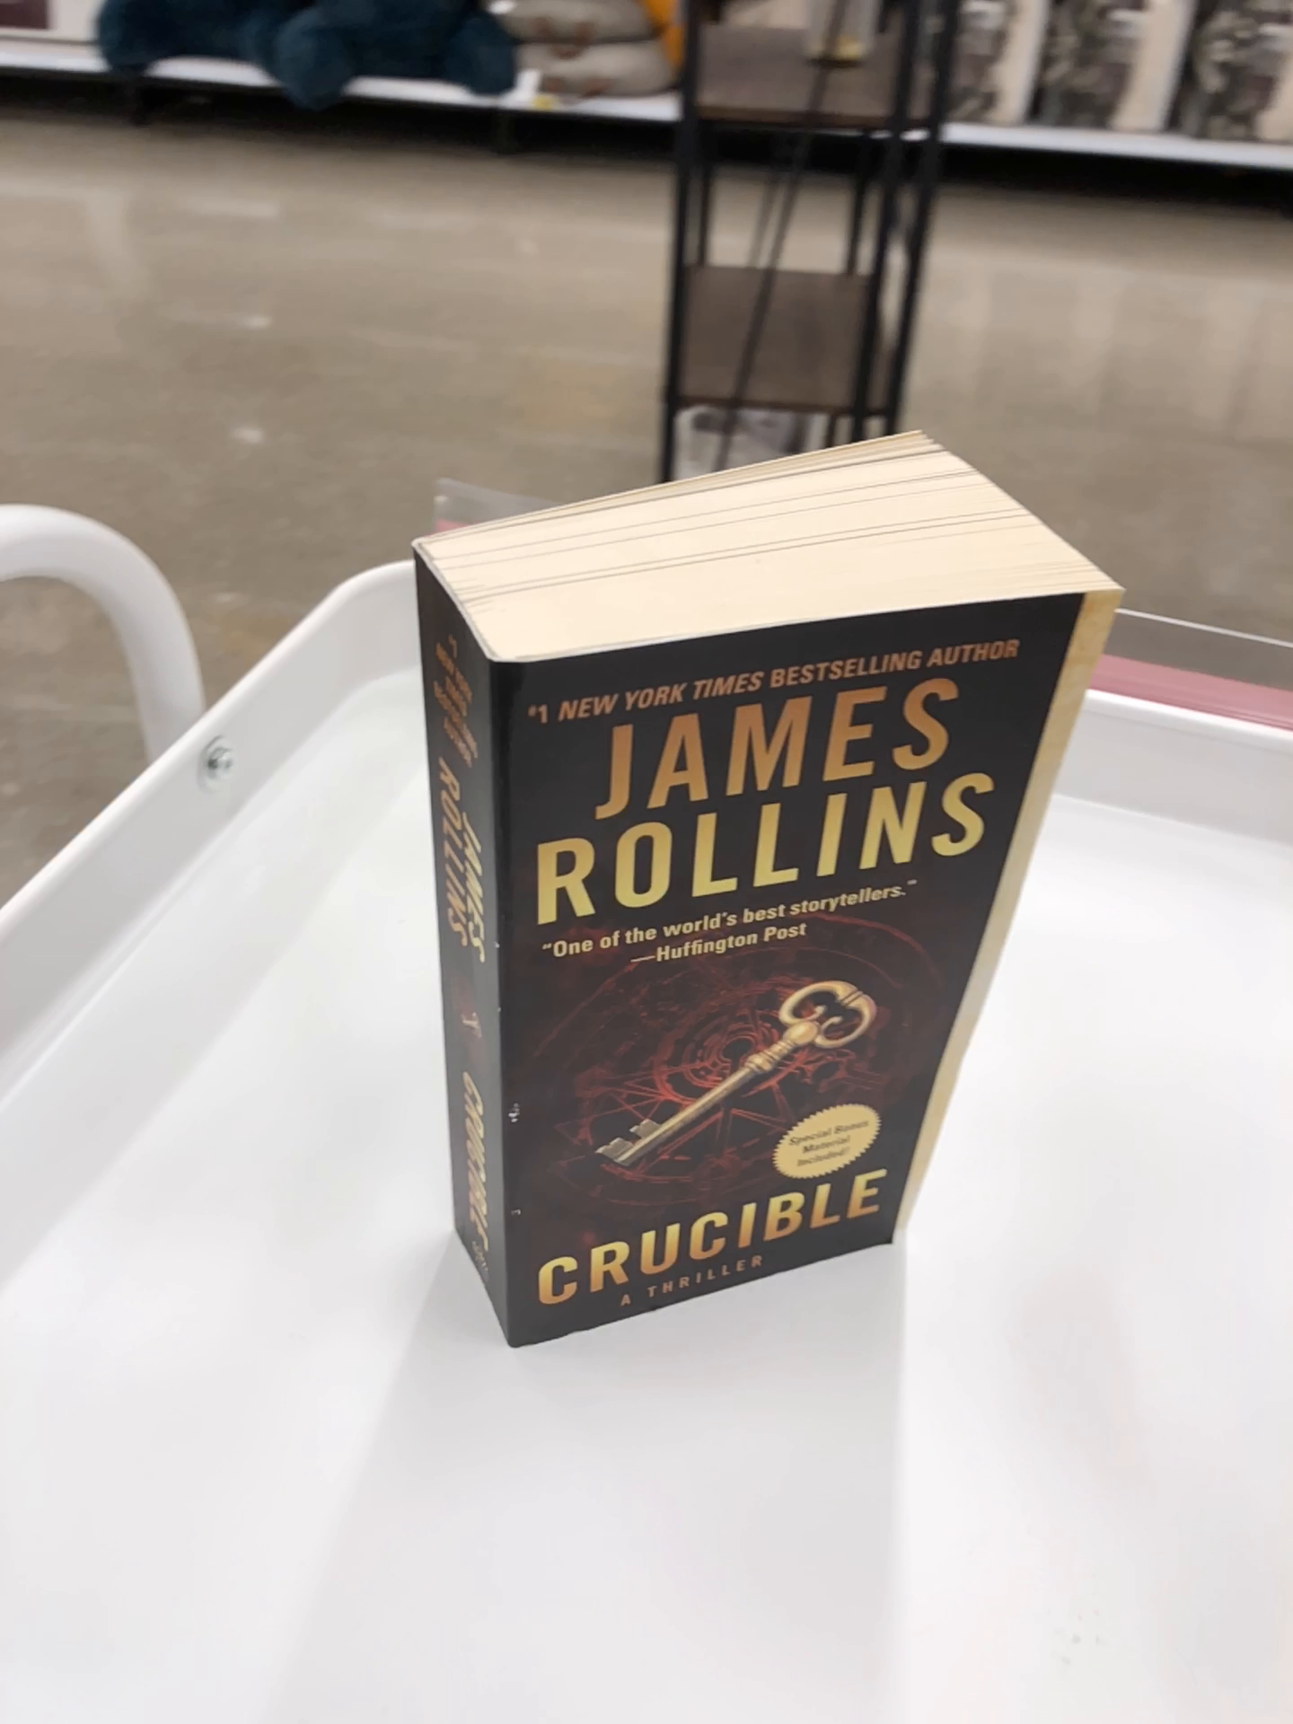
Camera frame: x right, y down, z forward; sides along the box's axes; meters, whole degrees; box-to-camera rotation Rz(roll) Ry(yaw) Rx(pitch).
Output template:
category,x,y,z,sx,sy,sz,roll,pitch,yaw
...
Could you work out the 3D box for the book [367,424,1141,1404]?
category,x,y,z,sx,sy,sz,roll,pitch,yaw
book,0.012,0.017,0.300,0.112,0.184,0.066,-13,42,-19
